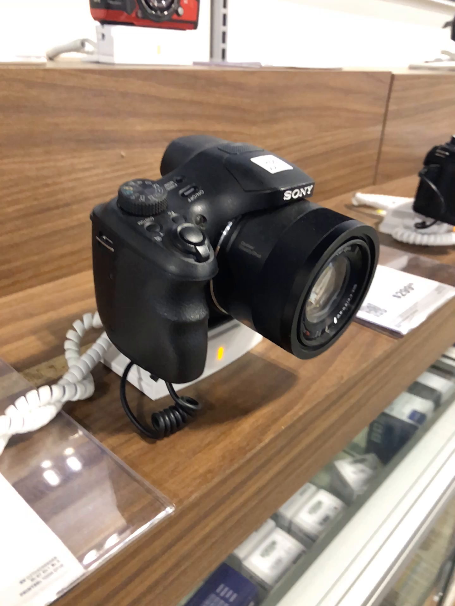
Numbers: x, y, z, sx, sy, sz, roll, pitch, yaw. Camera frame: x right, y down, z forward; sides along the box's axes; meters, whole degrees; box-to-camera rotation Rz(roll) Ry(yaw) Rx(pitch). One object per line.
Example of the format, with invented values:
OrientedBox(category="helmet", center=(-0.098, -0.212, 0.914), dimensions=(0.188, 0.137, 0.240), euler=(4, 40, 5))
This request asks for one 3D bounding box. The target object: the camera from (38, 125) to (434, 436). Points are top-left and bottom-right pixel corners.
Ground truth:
OrientedBox(category="camera", center=(0.005, -0.031, 0.253), dimensions=(0.130, 0.089, 0.130), euler=(22, 32, 36))
